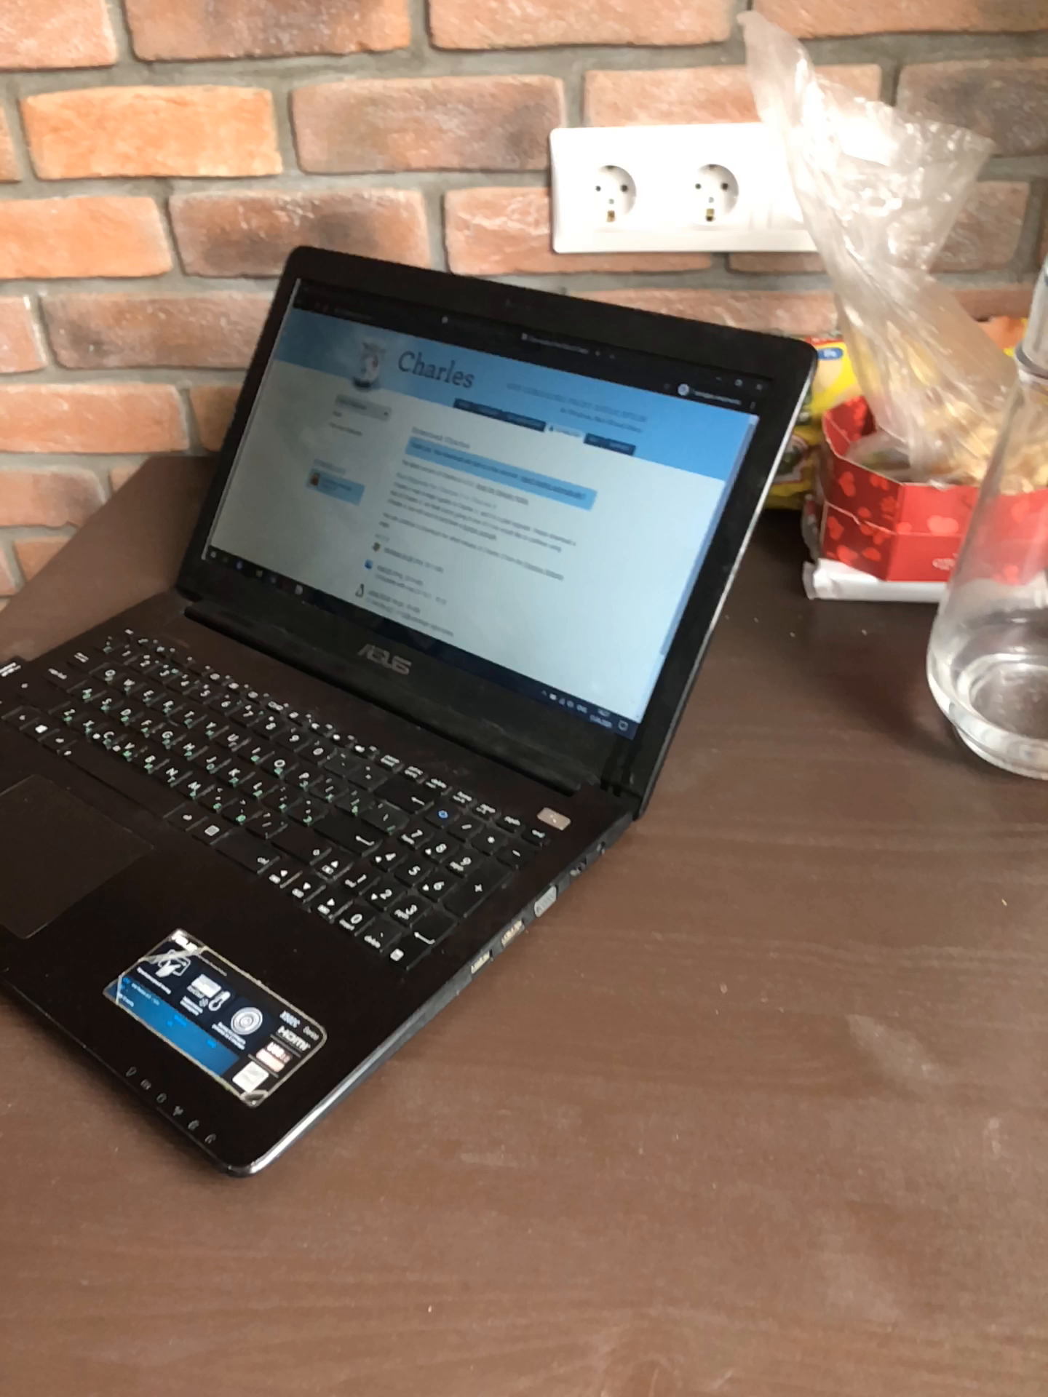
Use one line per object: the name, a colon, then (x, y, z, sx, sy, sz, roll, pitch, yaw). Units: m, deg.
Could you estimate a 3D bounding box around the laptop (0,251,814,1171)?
laptop: (-0.127, -0.061, 0.590, 0.373, 0.186, 0.401, 23, 43, 33)
